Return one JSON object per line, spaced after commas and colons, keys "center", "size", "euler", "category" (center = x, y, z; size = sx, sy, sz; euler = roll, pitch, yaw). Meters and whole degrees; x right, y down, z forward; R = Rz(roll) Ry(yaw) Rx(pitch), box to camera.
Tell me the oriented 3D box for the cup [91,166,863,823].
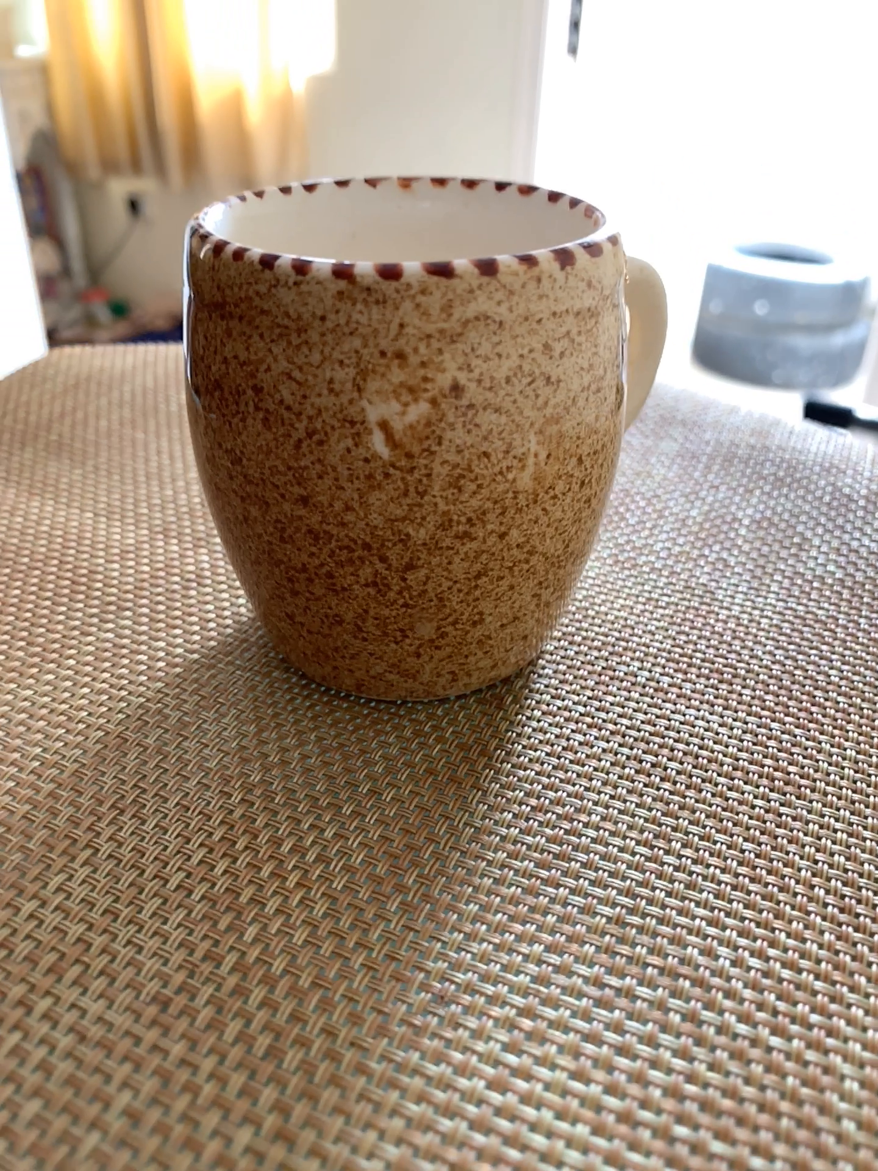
{"center": [0.002, -0.025, 0.156], "size": [0.090, 0.069, 0.070], "euler": [-16, 36, -27], "category": "cup"}
